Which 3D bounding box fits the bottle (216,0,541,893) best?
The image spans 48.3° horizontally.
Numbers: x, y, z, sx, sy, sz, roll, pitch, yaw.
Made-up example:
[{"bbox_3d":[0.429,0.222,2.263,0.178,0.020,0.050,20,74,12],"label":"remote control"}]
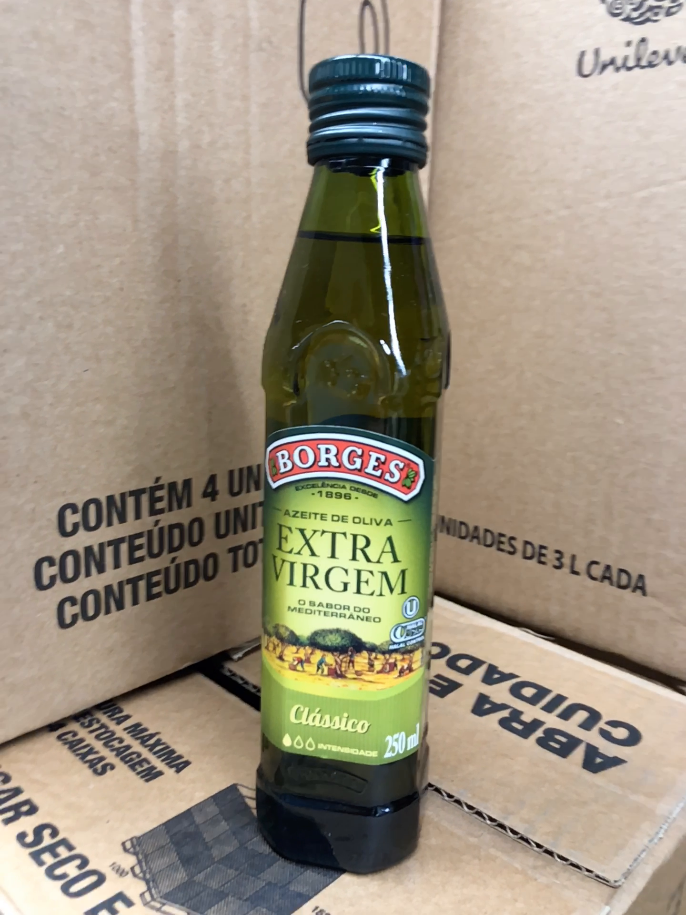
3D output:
[{"bbox_3d":[0.007,-0.004,0.207,0.060,0.219,0.060,4,13,-1],"label":"bottle"}]
